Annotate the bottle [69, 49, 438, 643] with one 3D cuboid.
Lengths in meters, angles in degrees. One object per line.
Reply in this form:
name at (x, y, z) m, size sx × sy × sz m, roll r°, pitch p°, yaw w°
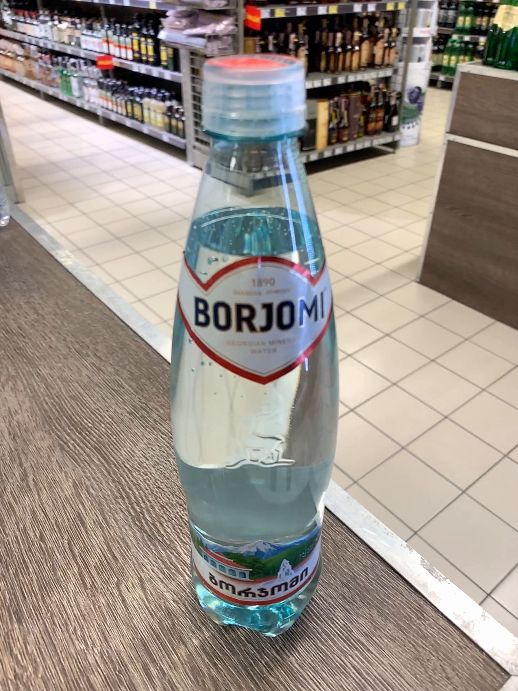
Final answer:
bottle at (-0.001, 0.022, 0.213) m, size 0.080 × 0.239 × 0.070 m, roll 1°, pitch 35°, yaw 1°
